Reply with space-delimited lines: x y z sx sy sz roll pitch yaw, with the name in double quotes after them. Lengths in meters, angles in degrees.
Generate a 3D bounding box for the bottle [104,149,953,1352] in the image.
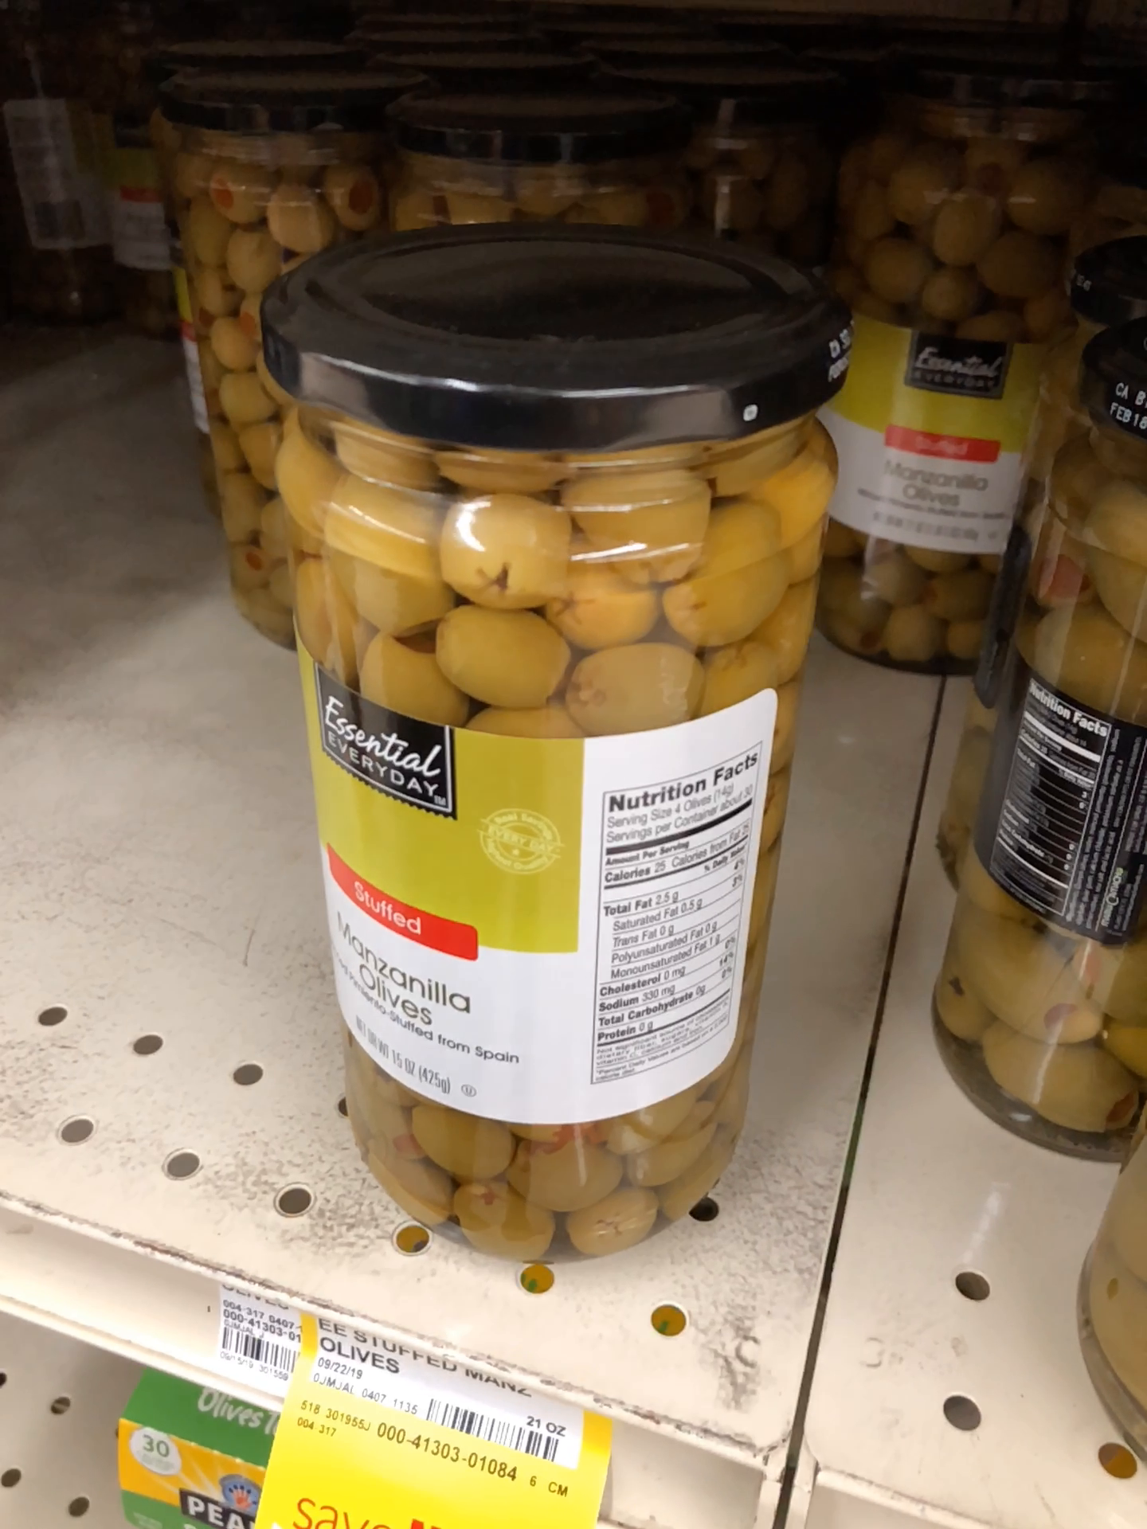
-0.006 -0.001 0.207 0.080 0.163 0.070 25 42 31 "bottle"
